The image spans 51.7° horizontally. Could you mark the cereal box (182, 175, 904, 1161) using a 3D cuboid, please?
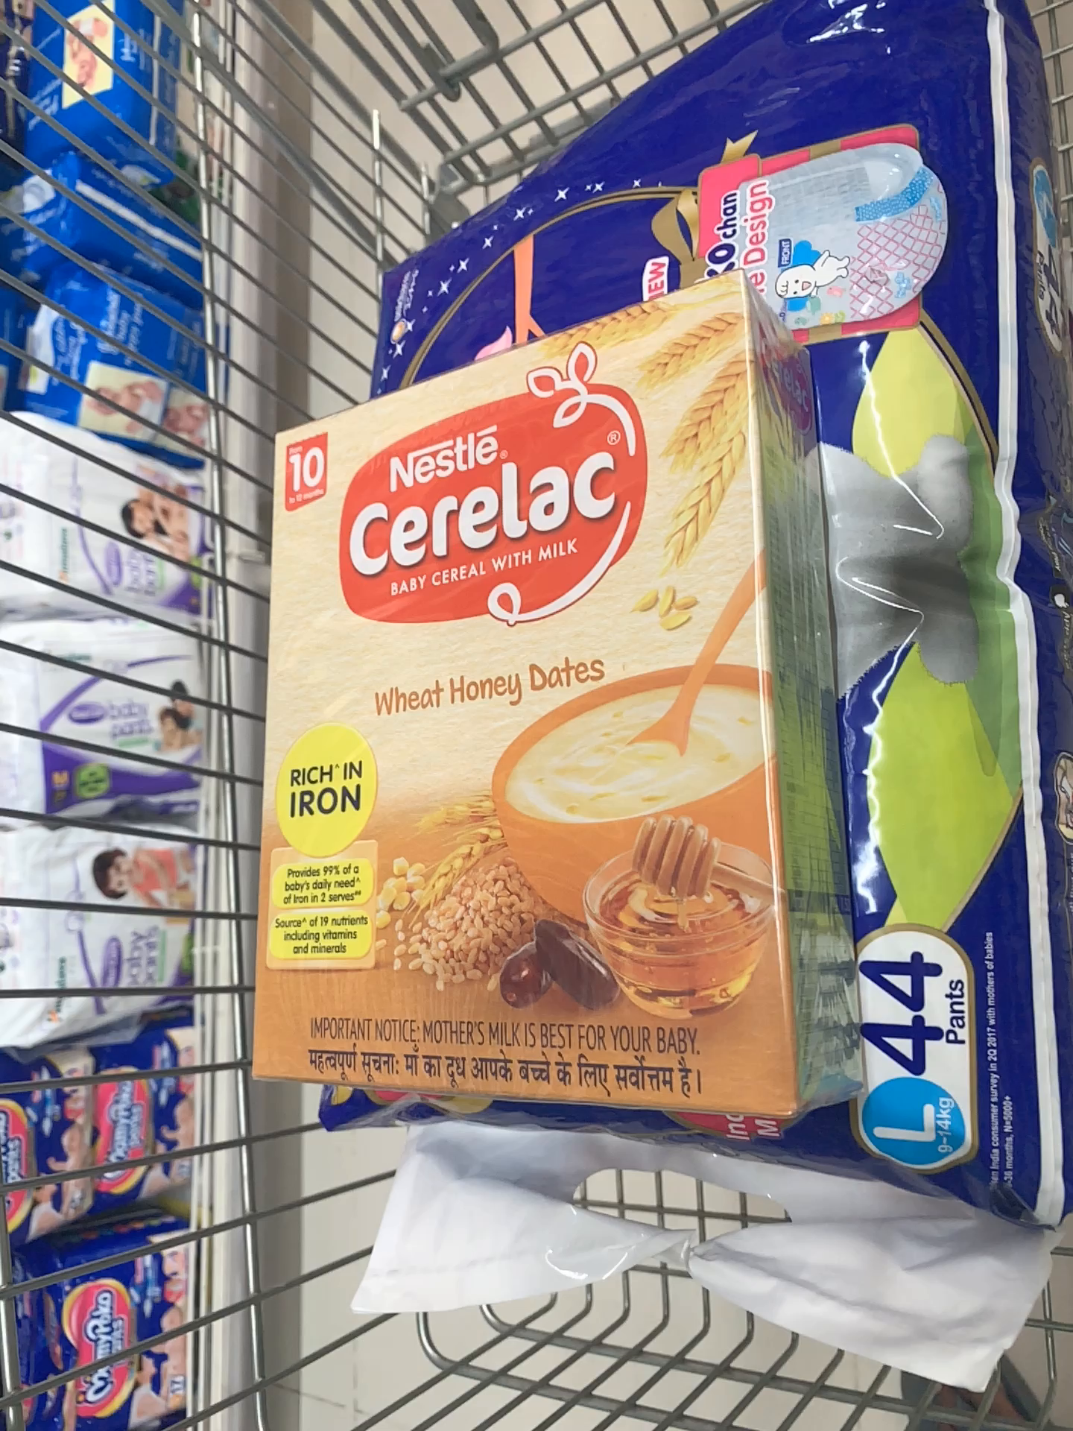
[{"bbox_3d":[-0.007,-0.003,0.275,0.161,0.060,0.190,-8,77,32],"label":"cereal box"}]
